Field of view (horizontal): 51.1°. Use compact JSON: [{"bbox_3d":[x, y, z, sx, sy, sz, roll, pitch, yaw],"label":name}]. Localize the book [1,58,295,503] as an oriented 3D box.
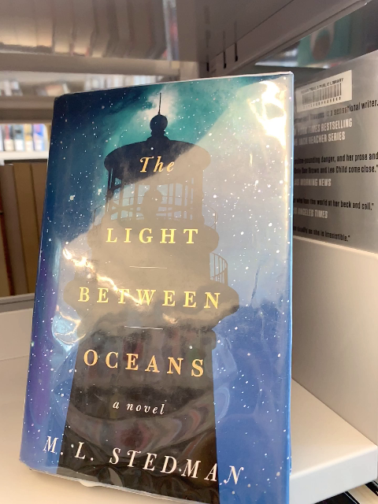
[{"bbox_3d":[-0.019,0.012,0.233,0.156,0.226,0.042,0,-9,16],"label":"book"}]
